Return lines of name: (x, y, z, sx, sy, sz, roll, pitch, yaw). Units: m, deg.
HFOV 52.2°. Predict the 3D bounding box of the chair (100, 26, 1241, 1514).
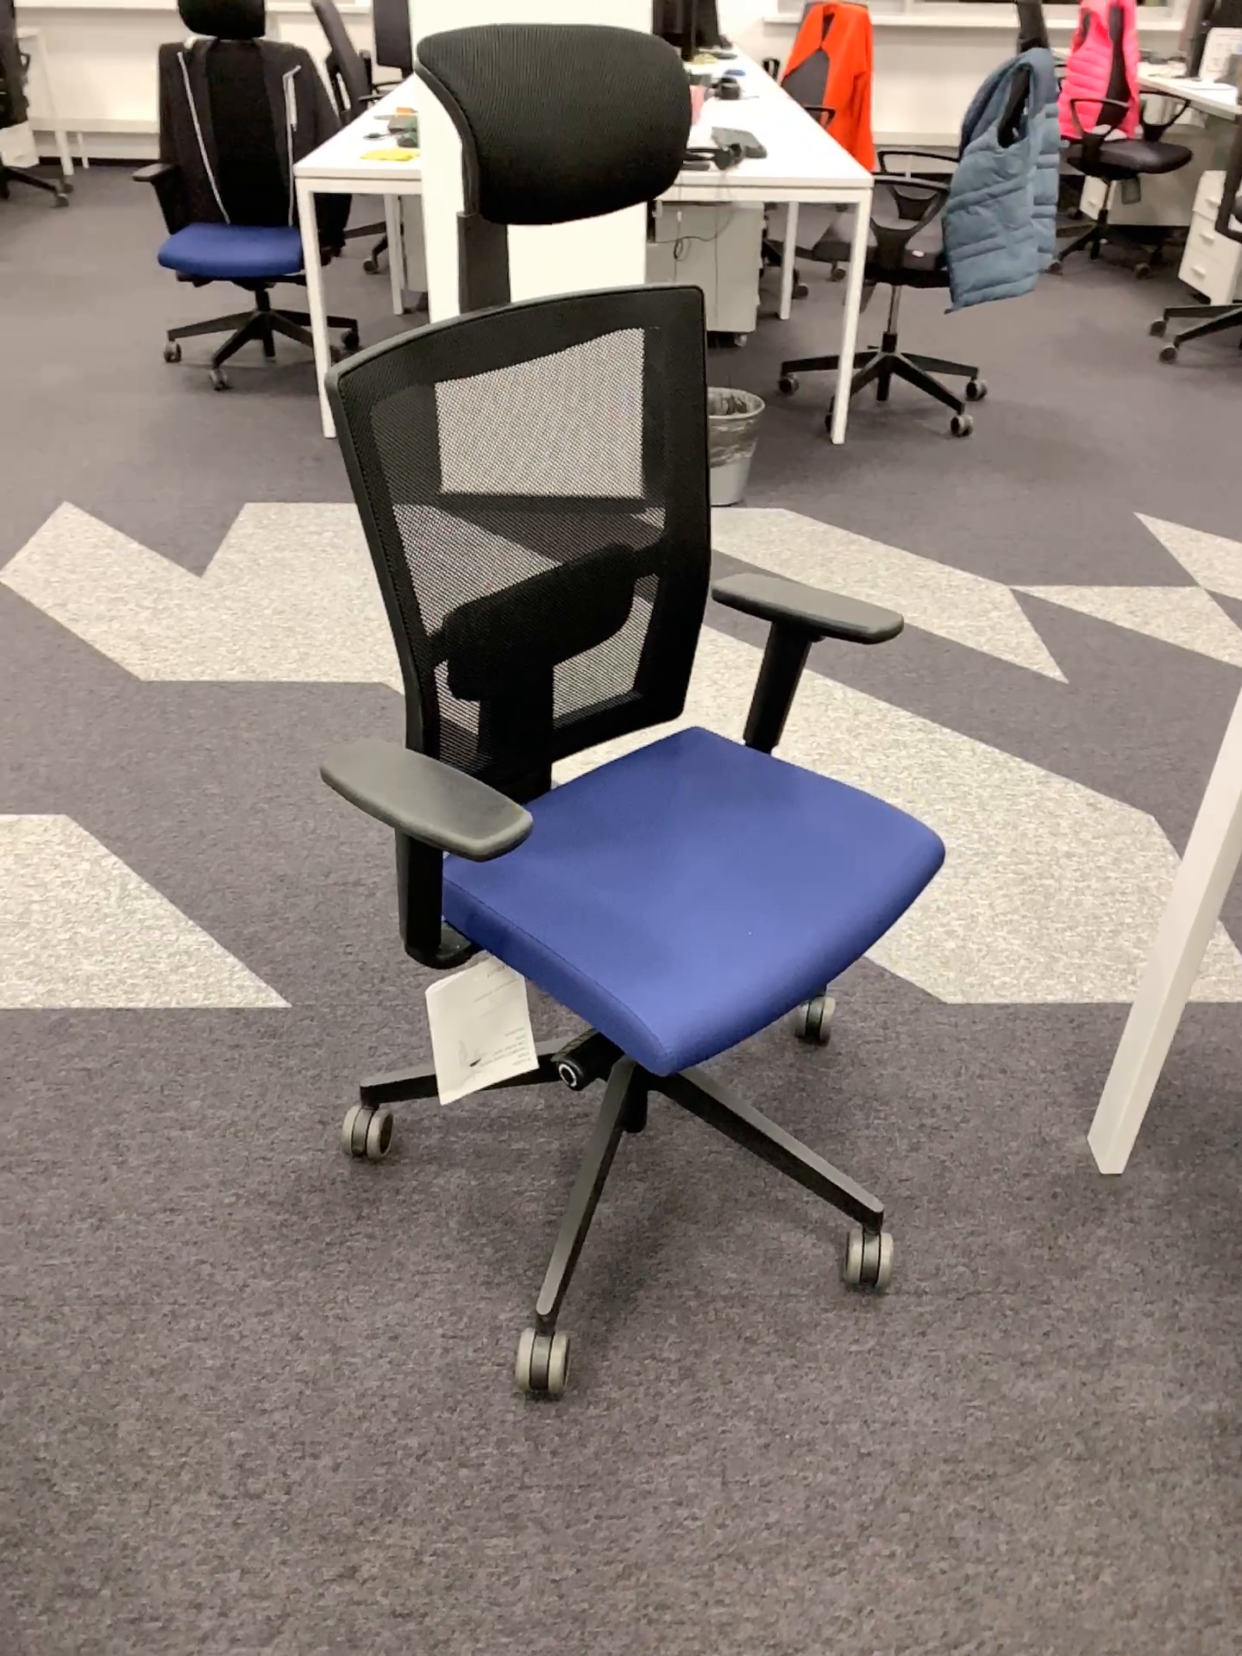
chair: (0.067, -0.088, 1.345, 0.732, 1.243, 0.672, -24, 43, -32)
